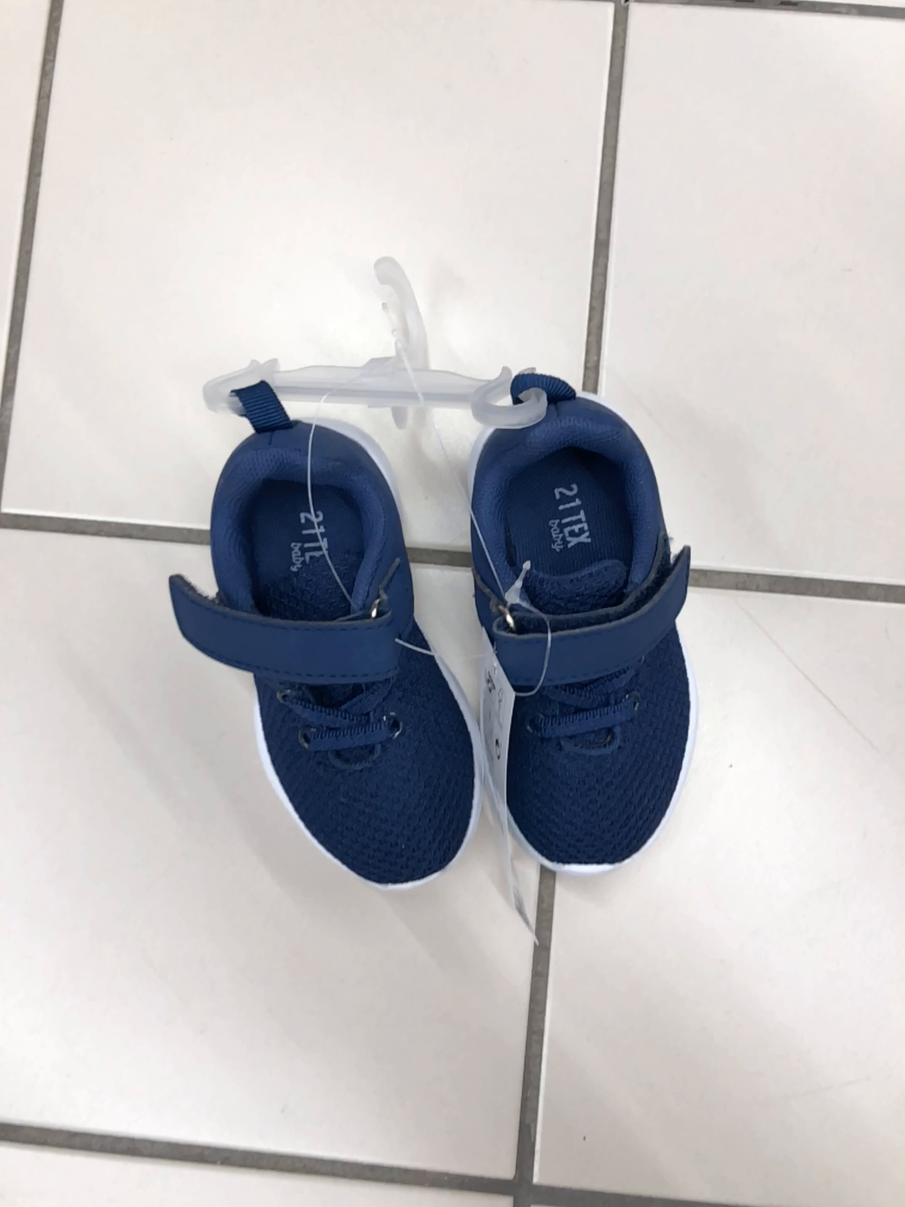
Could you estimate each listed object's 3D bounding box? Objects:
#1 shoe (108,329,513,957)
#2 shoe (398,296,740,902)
[{"bbox_3d":[-0.038,0.012,0.311,0.074,0.076,0.157,-15,85,1],"label":"shoe"},{"bbox_3d":[0.032,0.000,0.308,0.081,0.074,0.160,-4,85,2],"label":"shoe"}]
